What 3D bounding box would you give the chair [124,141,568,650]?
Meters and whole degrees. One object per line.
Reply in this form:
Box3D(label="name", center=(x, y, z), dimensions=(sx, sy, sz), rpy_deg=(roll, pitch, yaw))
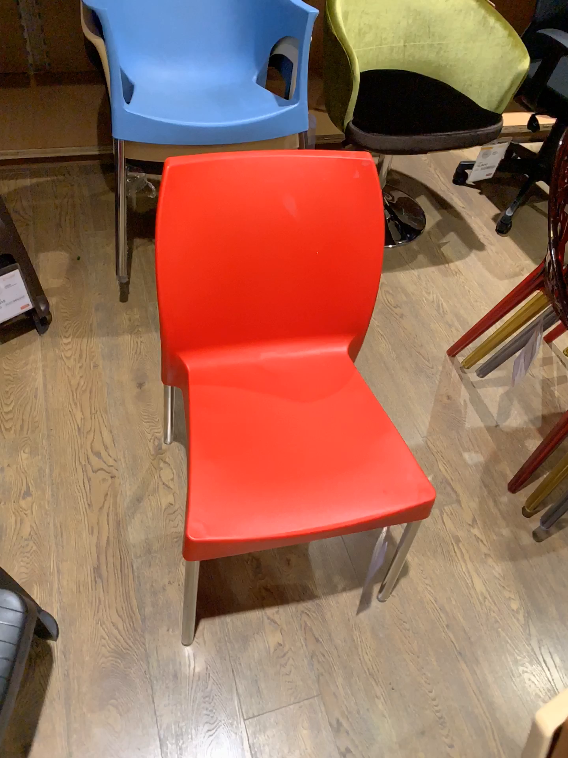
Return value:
Box3D(label="chair", center=(0.009, 0.058, 1.154), dimensions=(0.530, 0.778, 0.622), rpy_deg=(-6, 52, -13))
